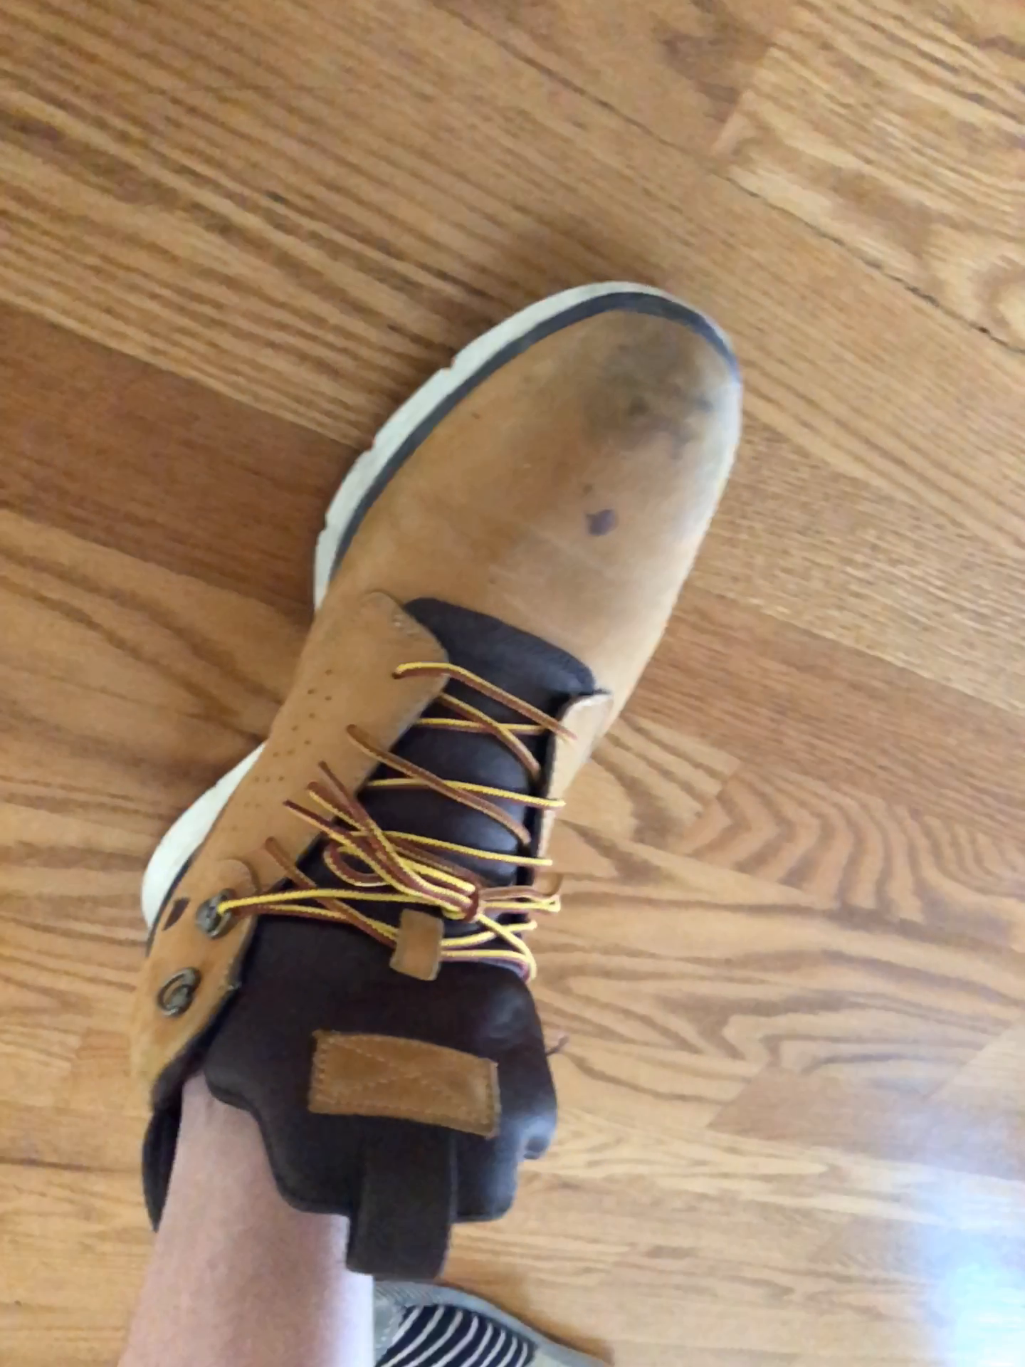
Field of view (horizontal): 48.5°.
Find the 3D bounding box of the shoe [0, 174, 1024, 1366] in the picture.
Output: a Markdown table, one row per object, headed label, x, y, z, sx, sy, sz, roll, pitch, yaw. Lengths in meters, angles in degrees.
| label | x | y | z | sx | sy | sz | roll | pitch | yaw |
| --- | --- | --- | --- | --- | --- | --- | --- | --- | --- |
| shoe | -0.020 | 0.048 | 0.319 | 0.120 | 0.169 | 0.311 | 23 | 113 | -26 |
